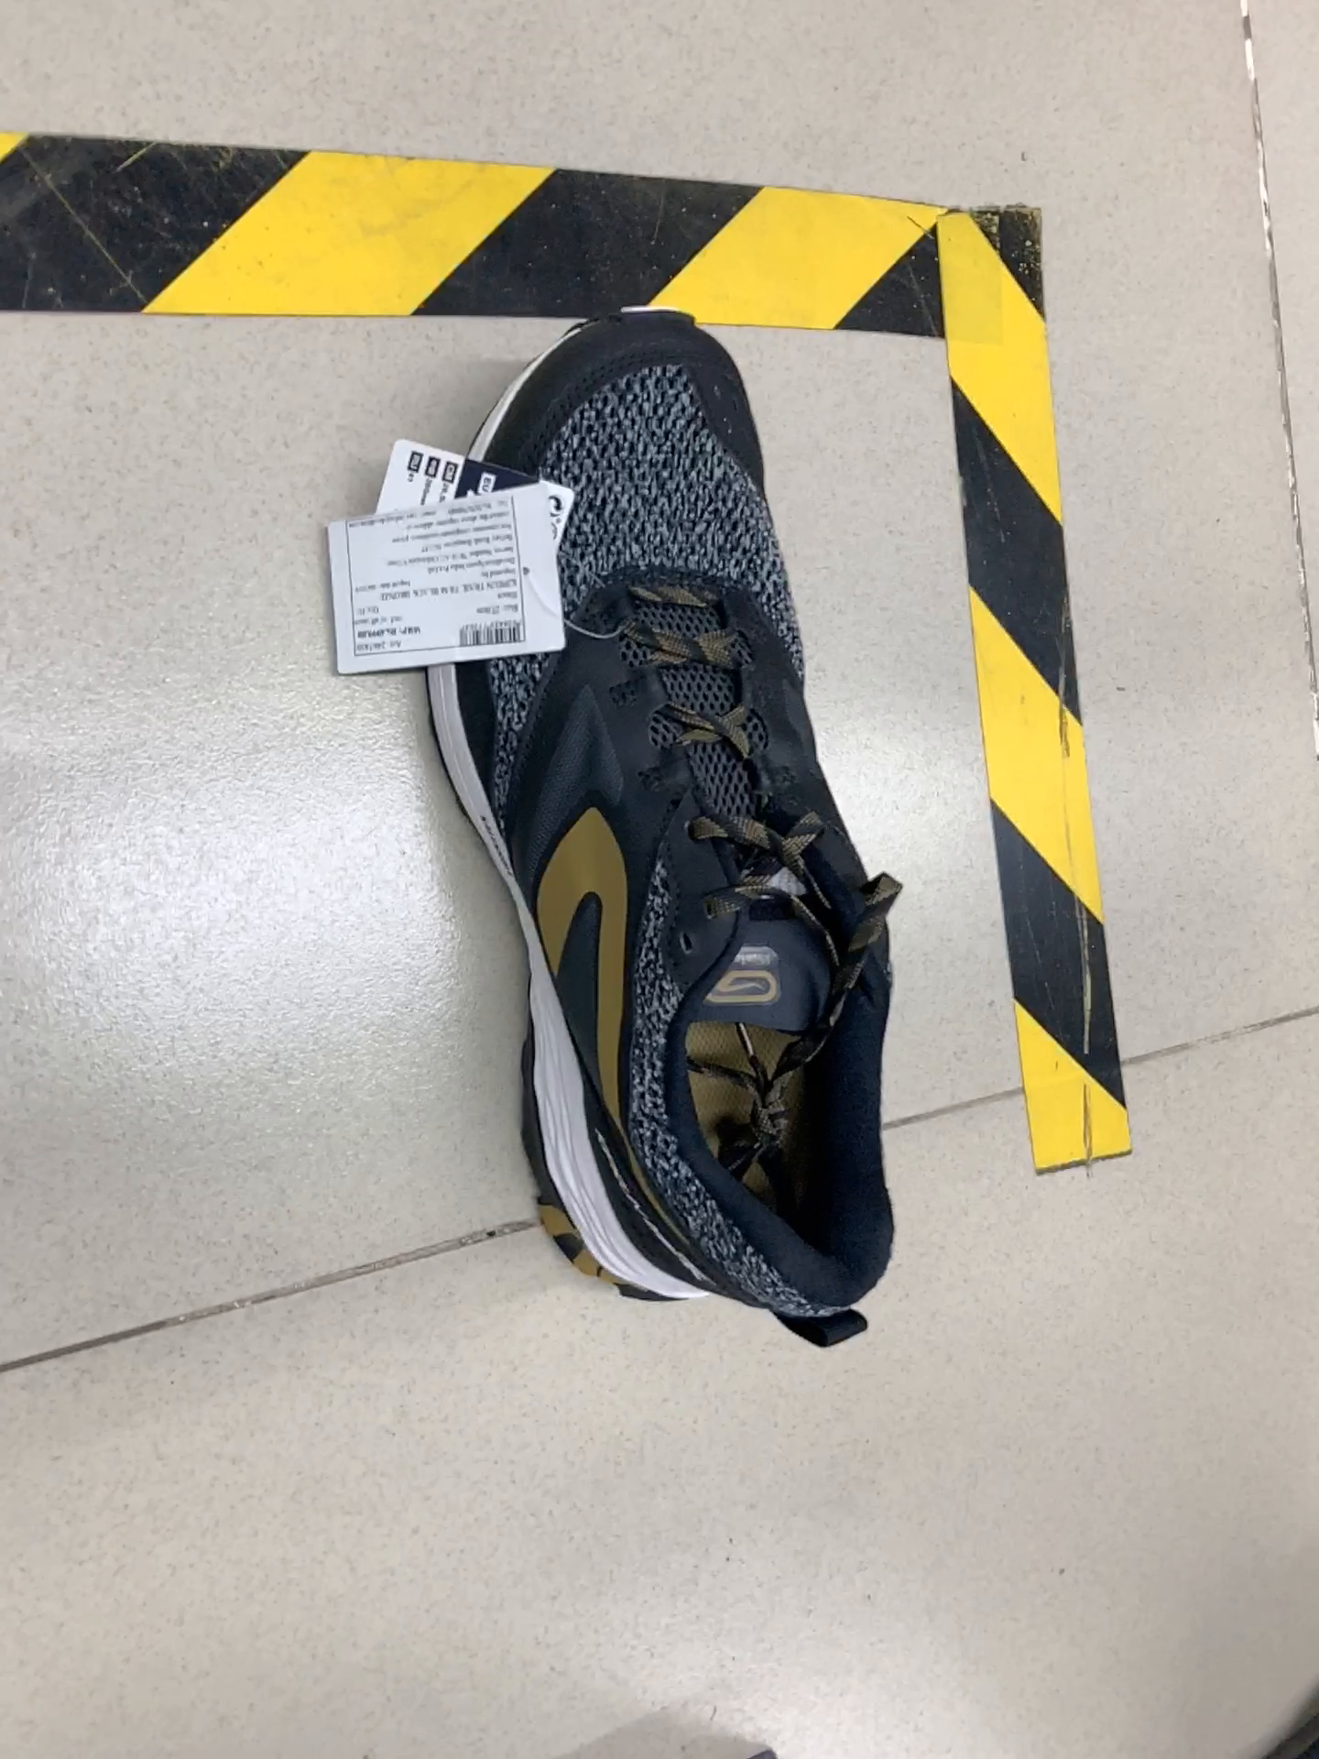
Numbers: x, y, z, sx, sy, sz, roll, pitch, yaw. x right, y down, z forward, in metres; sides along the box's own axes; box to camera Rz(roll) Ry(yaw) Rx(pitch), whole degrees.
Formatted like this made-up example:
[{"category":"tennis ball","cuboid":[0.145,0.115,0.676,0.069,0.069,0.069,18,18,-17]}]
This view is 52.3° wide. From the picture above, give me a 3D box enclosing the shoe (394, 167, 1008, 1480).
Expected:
[{"category":"shoe","cuboid":[0.008,-0.015,0.374,0.110,0.100,0.300,-7,93,-25]}]
